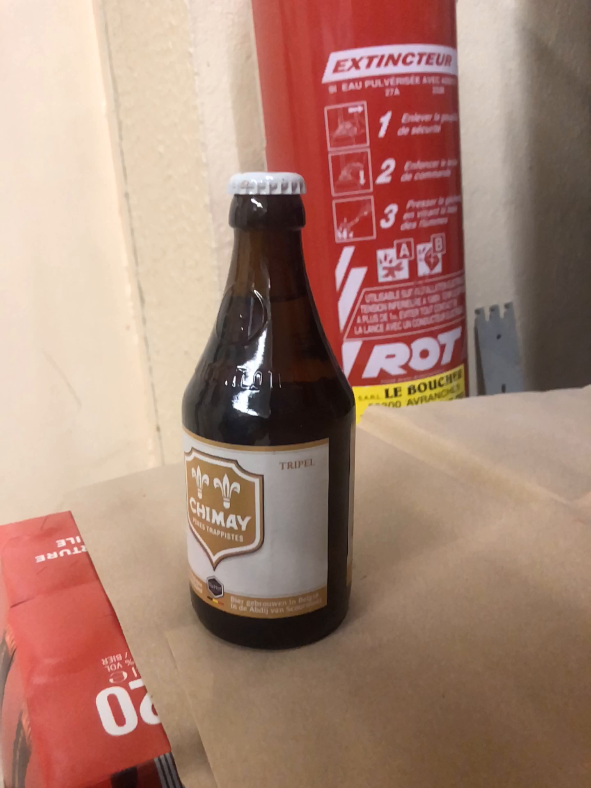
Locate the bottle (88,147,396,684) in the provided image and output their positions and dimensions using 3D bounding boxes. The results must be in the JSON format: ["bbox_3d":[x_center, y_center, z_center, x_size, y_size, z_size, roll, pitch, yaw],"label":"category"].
[{"bbox_3d":[-0.016,0.001,0.248,0.080,0.169,0.070,13,22,43],"label":"bottle"}]
